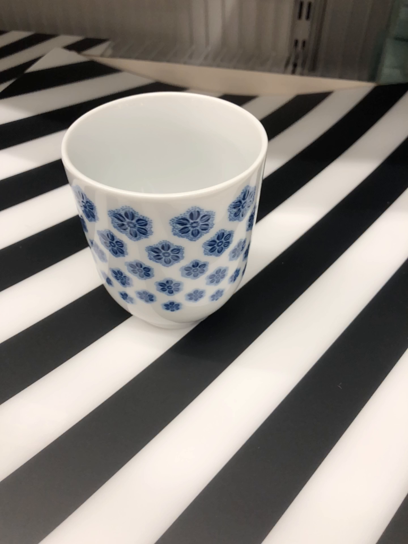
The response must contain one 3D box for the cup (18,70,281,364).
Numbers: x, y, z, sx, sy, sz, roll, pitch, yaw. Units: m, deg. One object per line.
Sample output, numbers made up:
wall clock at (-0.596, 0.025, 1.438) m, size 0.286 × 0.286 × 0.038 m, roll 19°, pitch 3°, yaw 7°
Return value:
cup at (-0.013, -0.025, 0.192) m, size 0.070 × 0.080 × 0.080 m, roll 10°, pitch 46°, yaw 11°
